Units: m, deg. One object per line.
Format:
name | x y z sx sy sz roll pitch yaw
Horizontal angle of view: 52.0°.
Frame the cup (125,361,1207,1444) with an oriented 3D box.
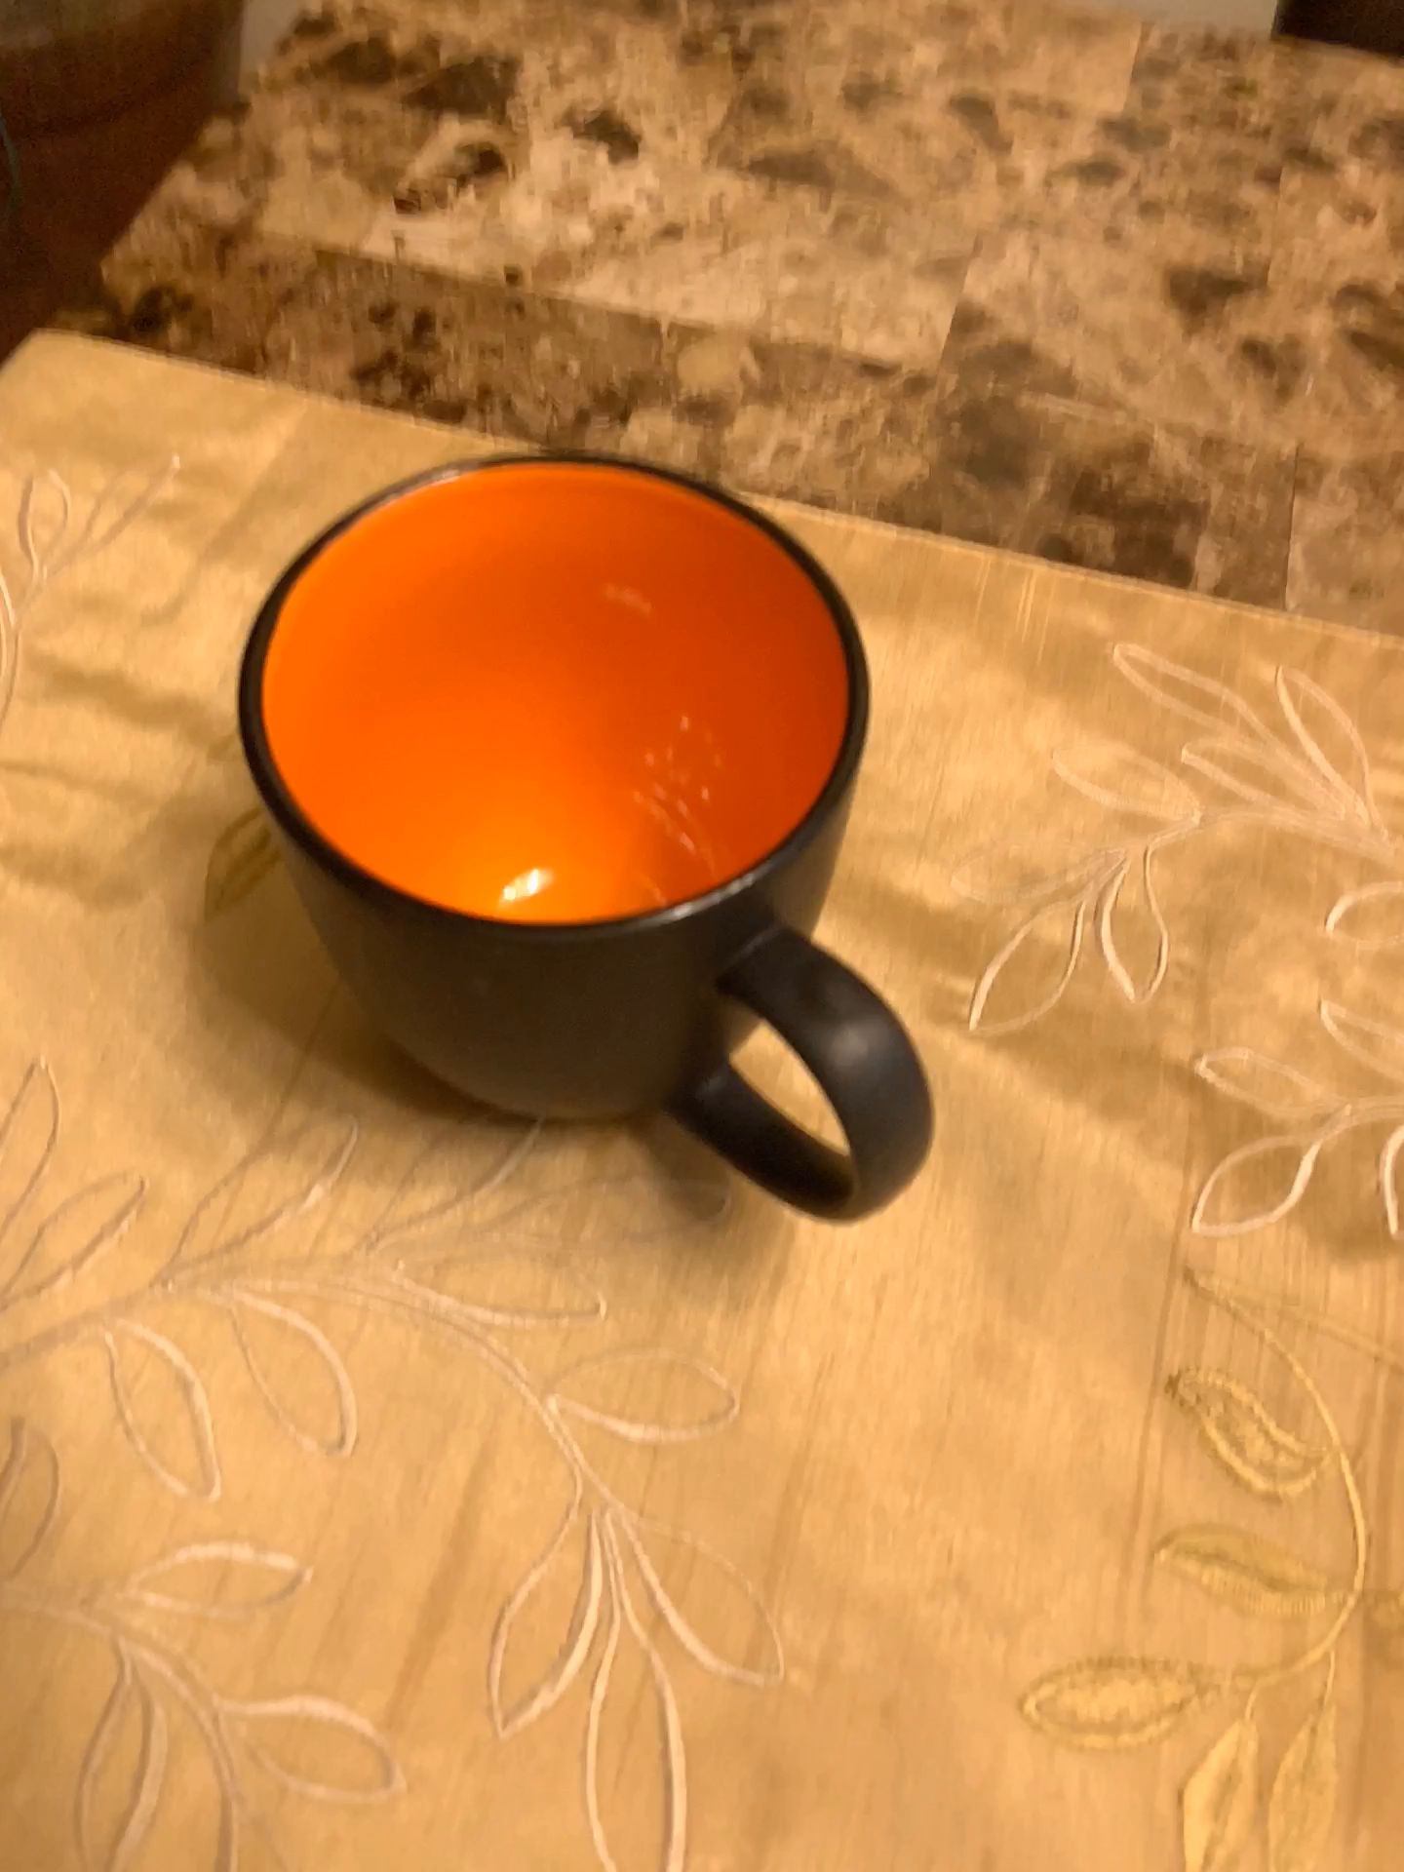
cup | -0.011 -0.008 0.249 0.100 0.087 0.133 -32 66 -20
